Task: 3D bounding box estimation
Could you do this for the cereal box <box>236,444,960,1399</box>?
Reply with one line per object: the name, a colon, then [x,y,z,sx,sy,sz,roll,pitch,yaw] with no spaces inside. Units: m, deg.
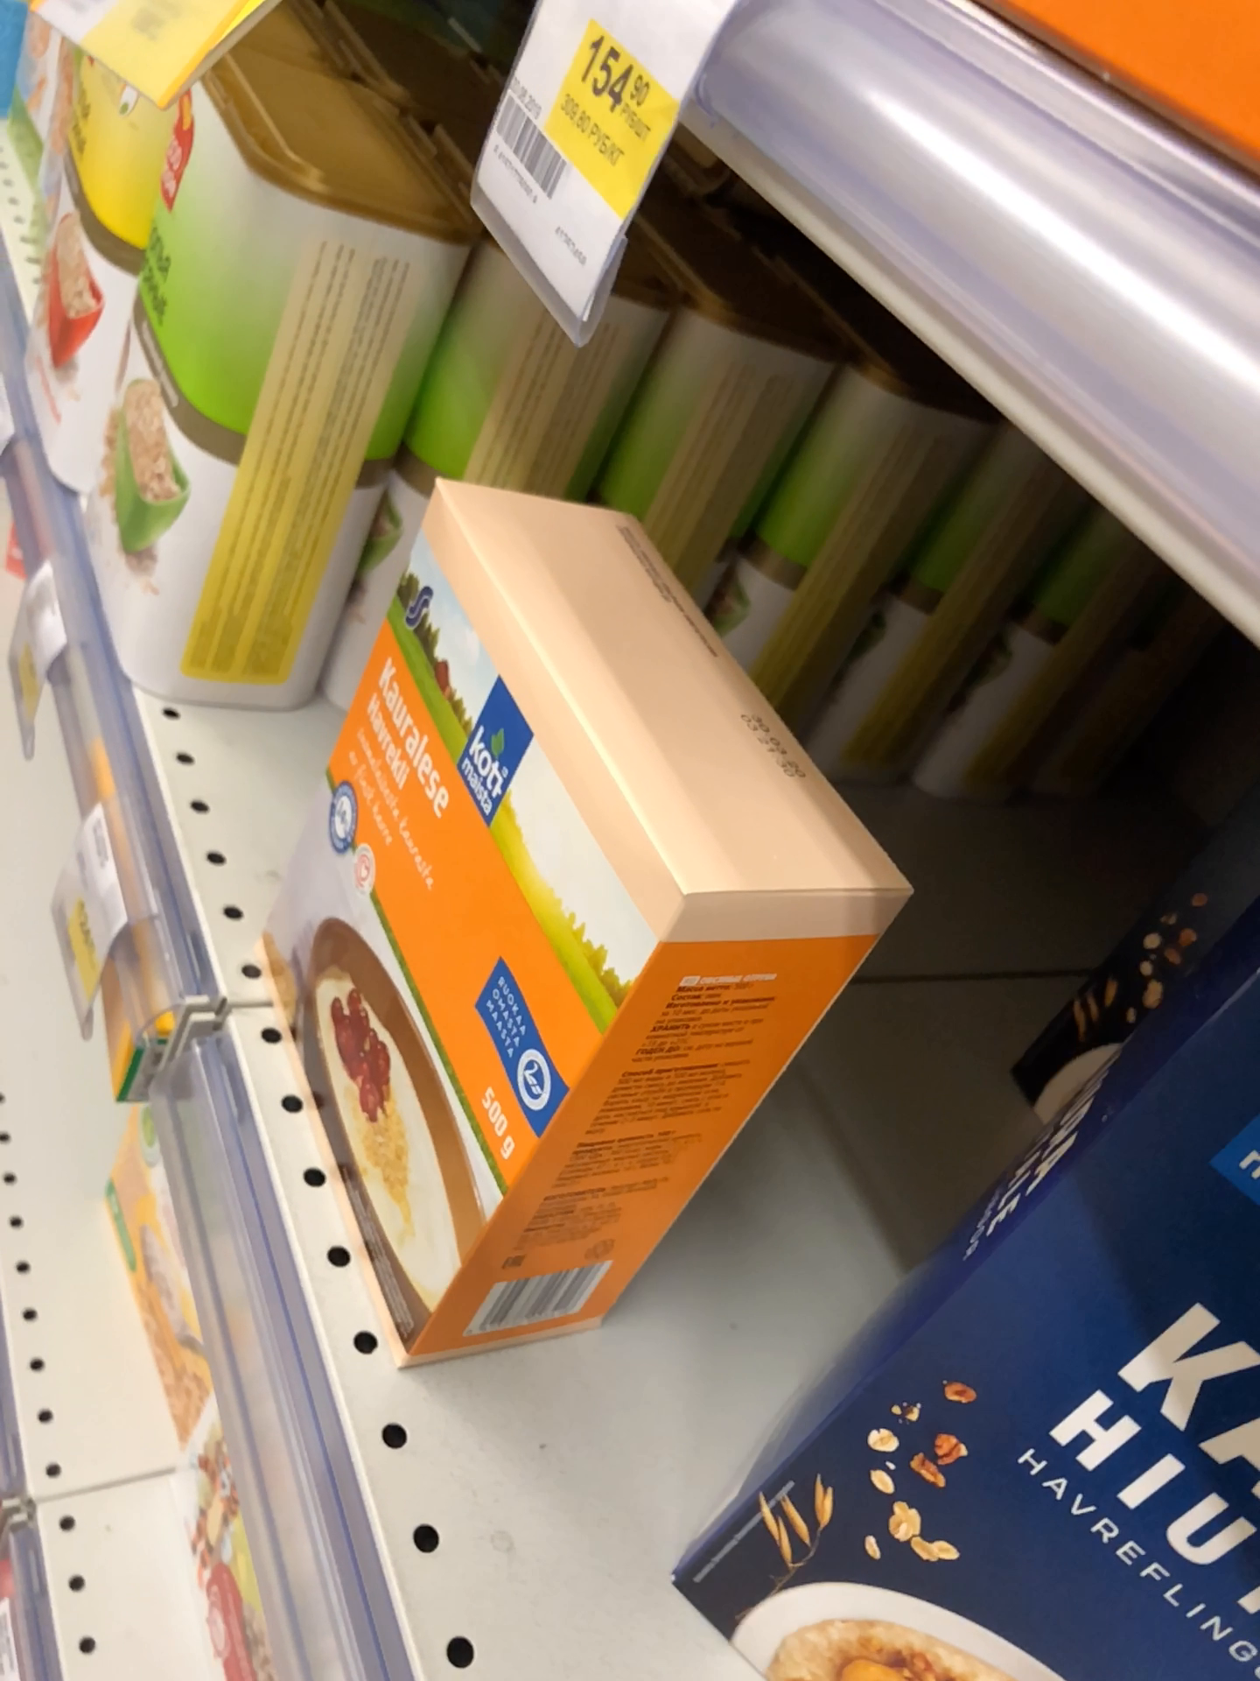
cereal box: [-0.028,0.020,0.363,0.070,0.169,0.161,1,43,-35]
